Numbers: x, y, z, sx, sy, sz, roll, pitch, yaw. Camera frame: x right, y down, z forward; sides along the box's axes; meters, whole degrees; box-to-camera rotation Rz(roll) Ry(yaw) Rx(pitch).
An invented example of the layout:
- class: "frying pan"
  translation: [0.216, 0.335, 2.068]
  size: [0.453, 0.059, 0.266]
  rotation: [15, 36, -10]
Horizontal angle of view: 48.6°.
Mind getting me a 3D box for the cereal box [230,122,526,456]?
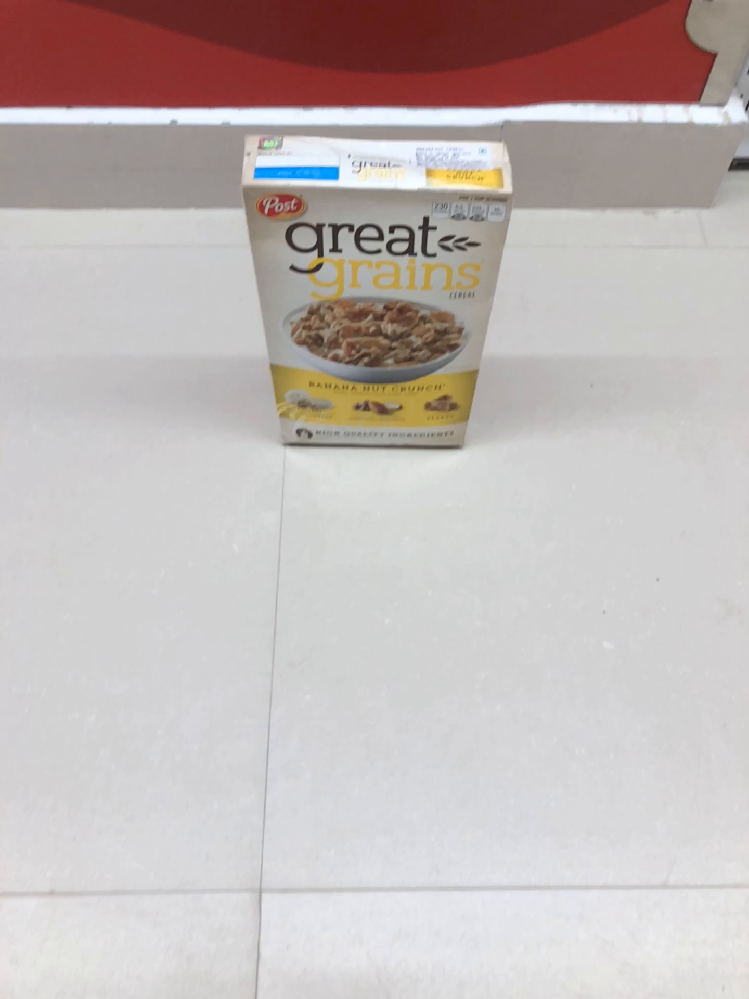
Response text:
- class: "cereal box"
  translation: [-0.002, -0.126, 0.575]
  size: [0.160, 0.259, 0.060]
  rotation: [0, 60, -2]
